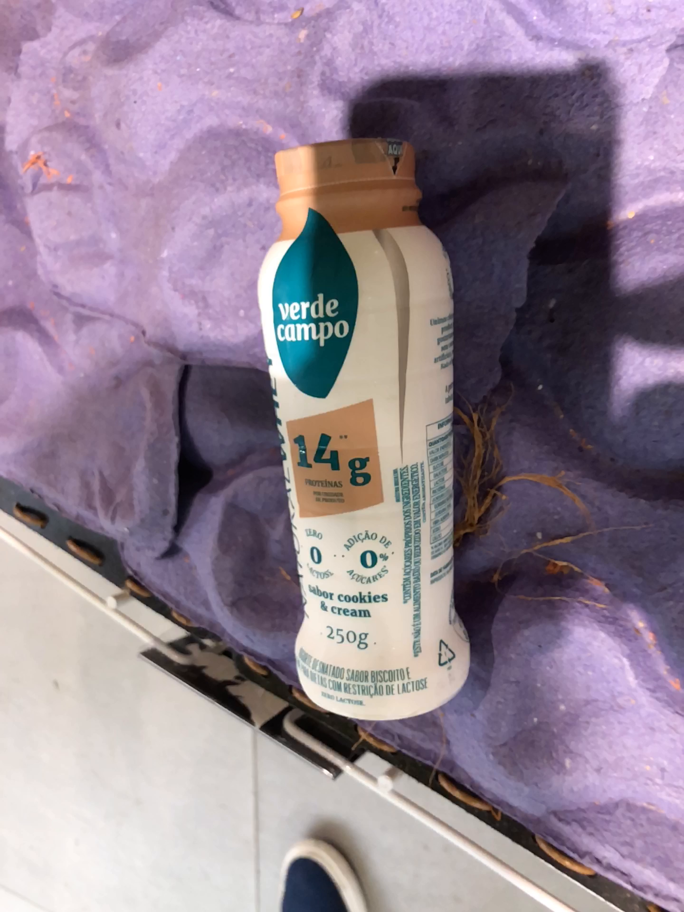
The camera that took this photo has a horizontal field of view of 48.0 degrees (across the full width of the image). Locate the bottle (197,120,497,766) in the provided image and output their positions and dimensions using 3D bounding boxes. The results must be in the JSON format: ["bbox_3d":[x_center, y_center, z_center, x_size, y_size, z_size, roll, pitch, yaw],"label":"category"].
[{"bbox_3d":[0.006,-0.001,0.215,0.060,0.040,0.160,1,105,24],"label":"bottle"}]
